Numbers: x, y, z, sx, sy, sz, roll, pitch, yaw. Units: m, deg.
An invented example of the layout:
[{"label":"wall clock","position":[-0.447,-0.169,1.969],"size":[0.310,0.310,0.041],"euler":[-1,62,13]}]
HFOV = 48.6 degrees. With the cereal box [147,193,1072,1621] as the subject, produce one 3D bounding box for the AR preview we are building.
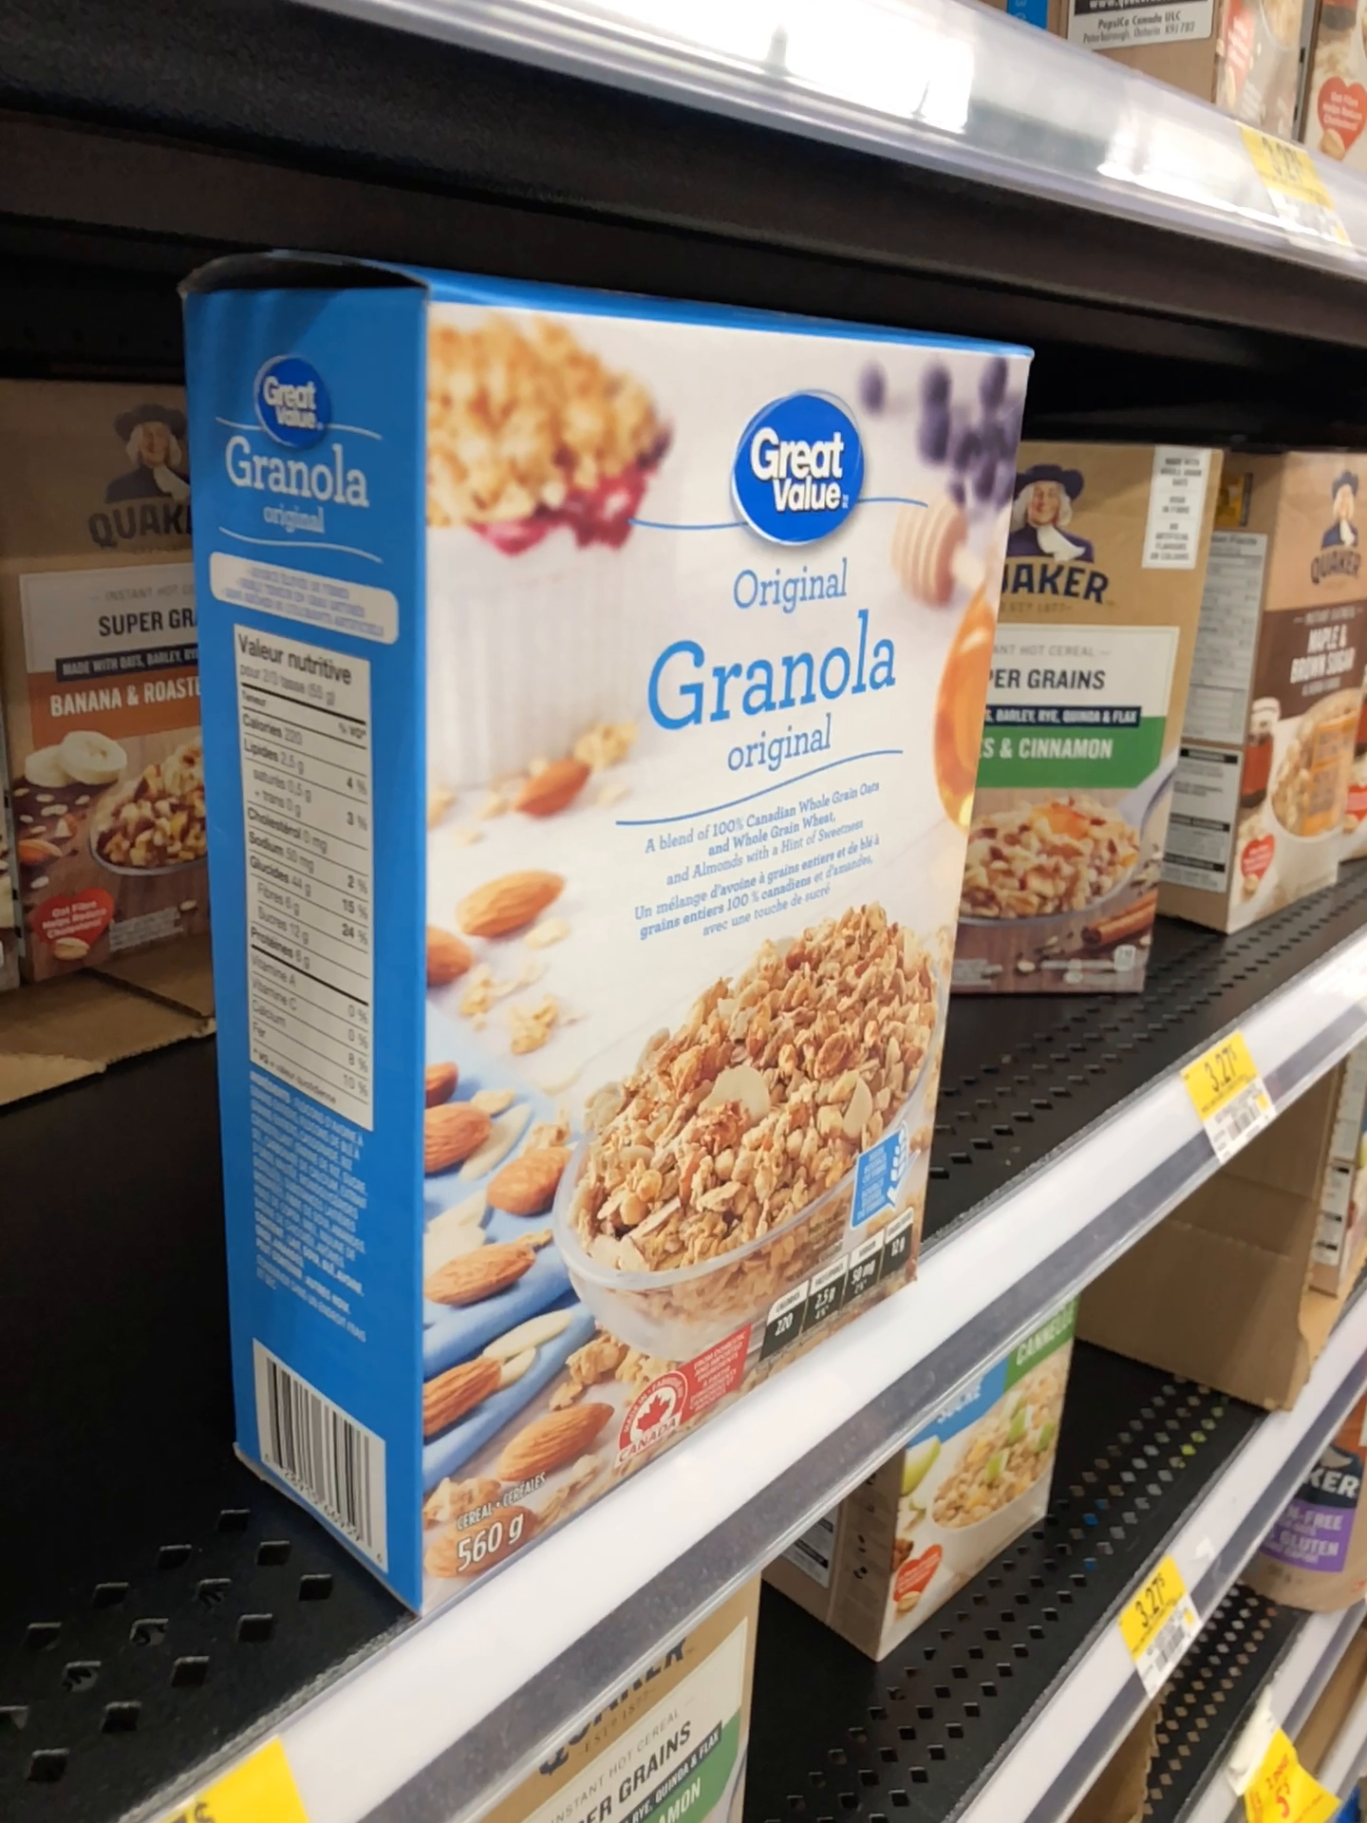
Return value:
[{"label":"cereal box","position":[-0.008,-0.011,0.300],"size":[0.070,0.219,0.161],"euler":[18,24,38]}]
